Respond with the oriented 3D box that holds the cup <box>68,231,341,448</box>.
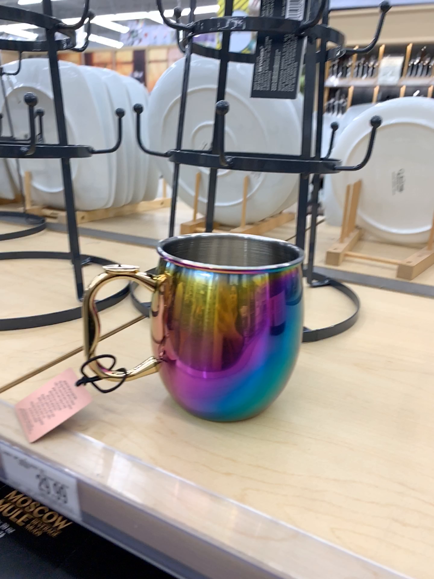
[{"bbox_3d":[-0.013,0.020,0.263,0.130,0.089,0.085,-3,20,-13],"label":"cup"}]
